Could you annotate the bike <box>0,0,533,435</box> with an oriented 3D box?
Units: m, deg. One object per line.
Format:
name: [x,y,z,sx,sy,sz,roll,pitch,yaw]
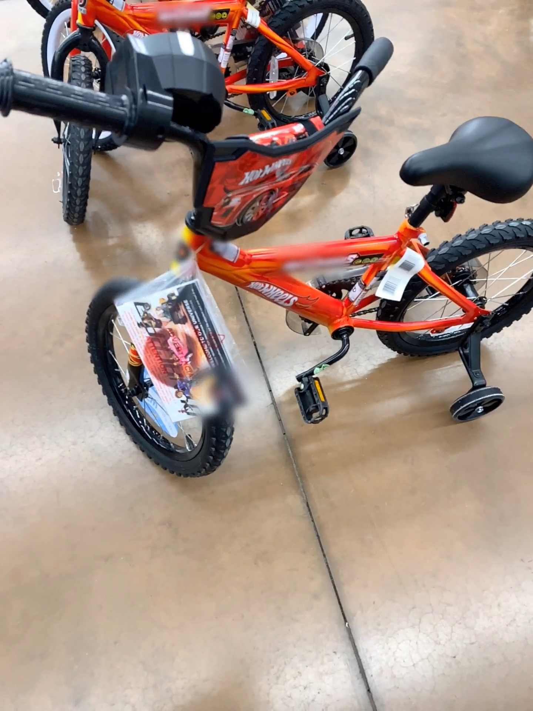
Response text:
bike: [0.094,-0.281,1.033,0.994,0.822,0.504,-9,59,0]
